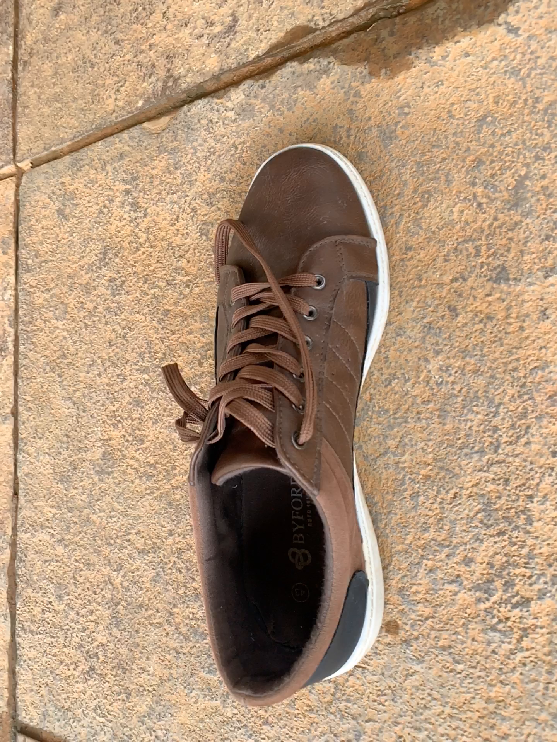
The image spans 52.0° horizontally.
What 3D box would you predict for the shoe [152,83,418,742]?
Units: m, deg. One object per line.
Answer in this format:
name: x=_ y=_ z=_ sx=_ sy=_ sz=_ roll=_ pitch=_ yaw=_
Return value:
shoe: x=0.001 y=0.021 z=0.316 sx=0.110 sy=0.080 sz=0.300 roll=-6 pitch=83 yaw=32
